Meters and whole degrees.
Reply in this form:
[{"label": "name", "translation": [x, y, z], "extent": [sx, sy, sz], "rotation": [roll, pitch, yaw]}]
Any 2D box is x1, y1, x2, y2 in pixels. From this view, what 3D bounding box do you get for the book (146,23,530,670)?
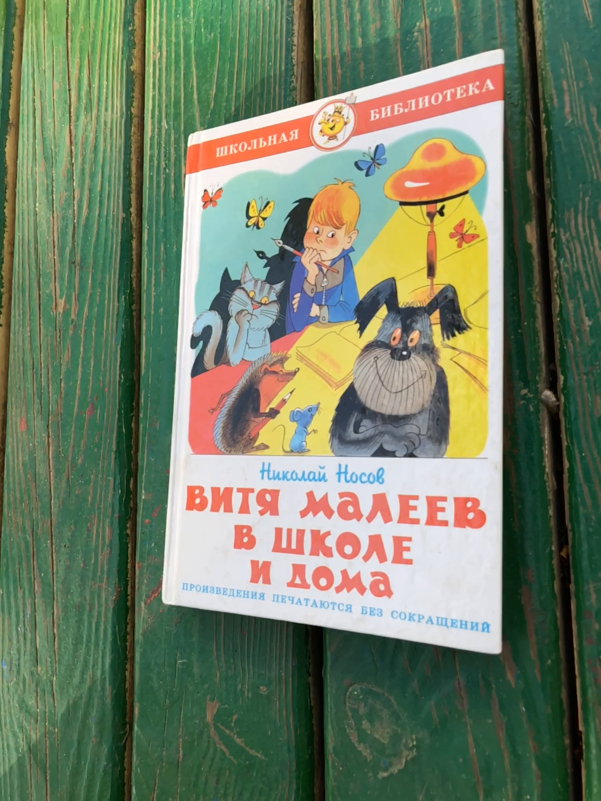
[{"label": "book", "translation": [0.010, -0.021, 0.258], "extent": [0.145, 0.020, 0.212], "rotation": [-1, 83, 29]}]
